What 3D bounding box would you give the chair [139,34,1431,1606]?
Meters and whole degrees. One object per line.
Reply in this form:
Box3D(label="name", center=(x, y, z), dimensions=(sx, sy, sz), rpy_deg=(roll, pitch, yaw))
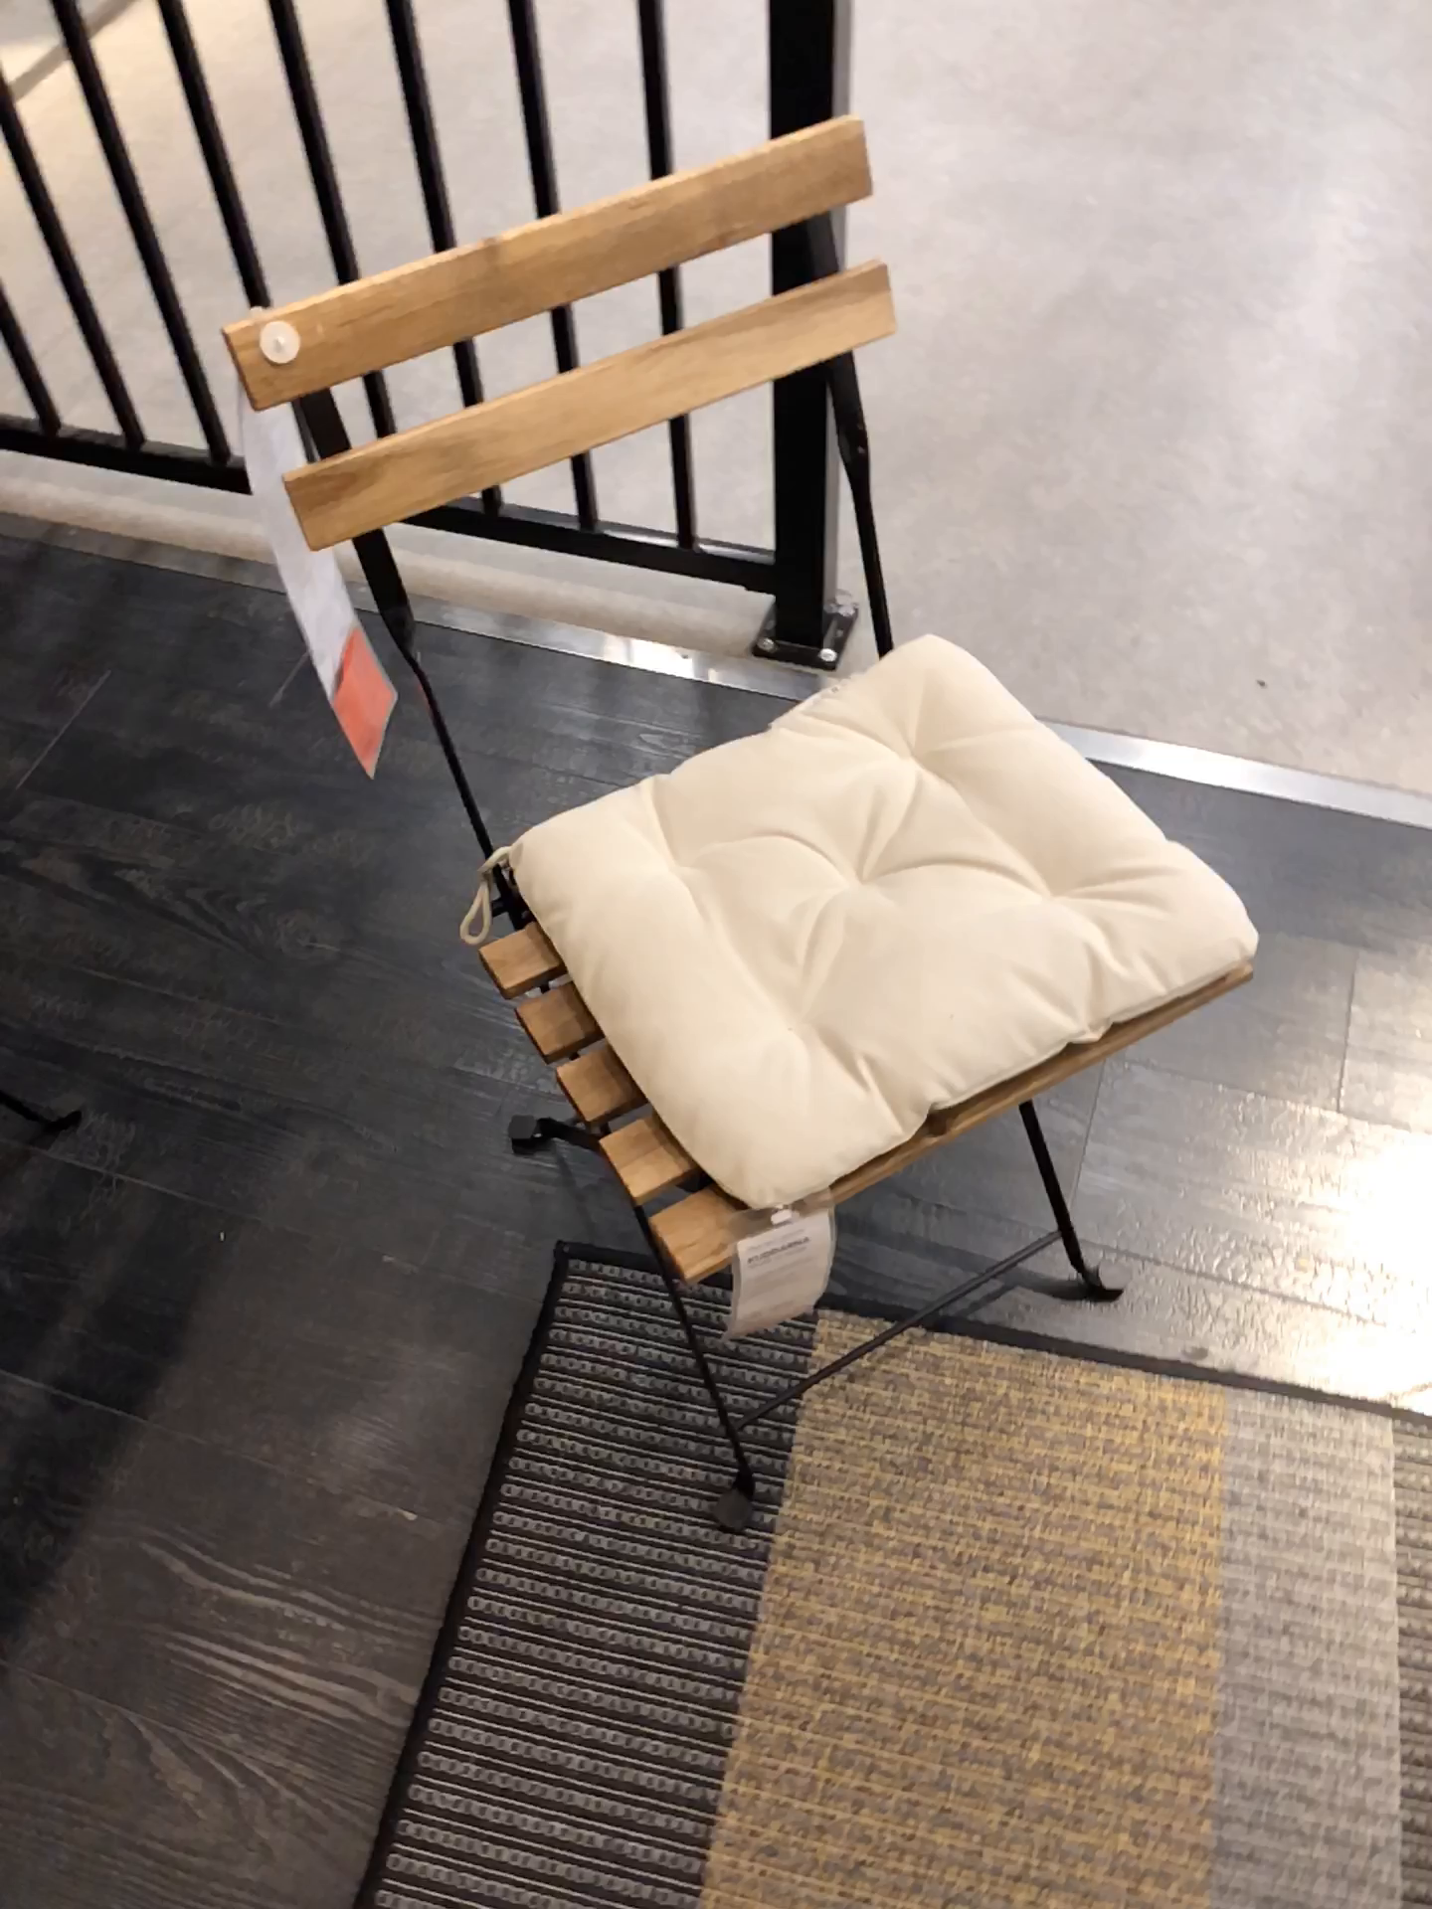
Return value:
Box3D(label="chair", center=(0.056, -0.026, 0.982), dimensions=(0.450, 0.758, 0.461), rpy_deg=(-26, 56, -16))
